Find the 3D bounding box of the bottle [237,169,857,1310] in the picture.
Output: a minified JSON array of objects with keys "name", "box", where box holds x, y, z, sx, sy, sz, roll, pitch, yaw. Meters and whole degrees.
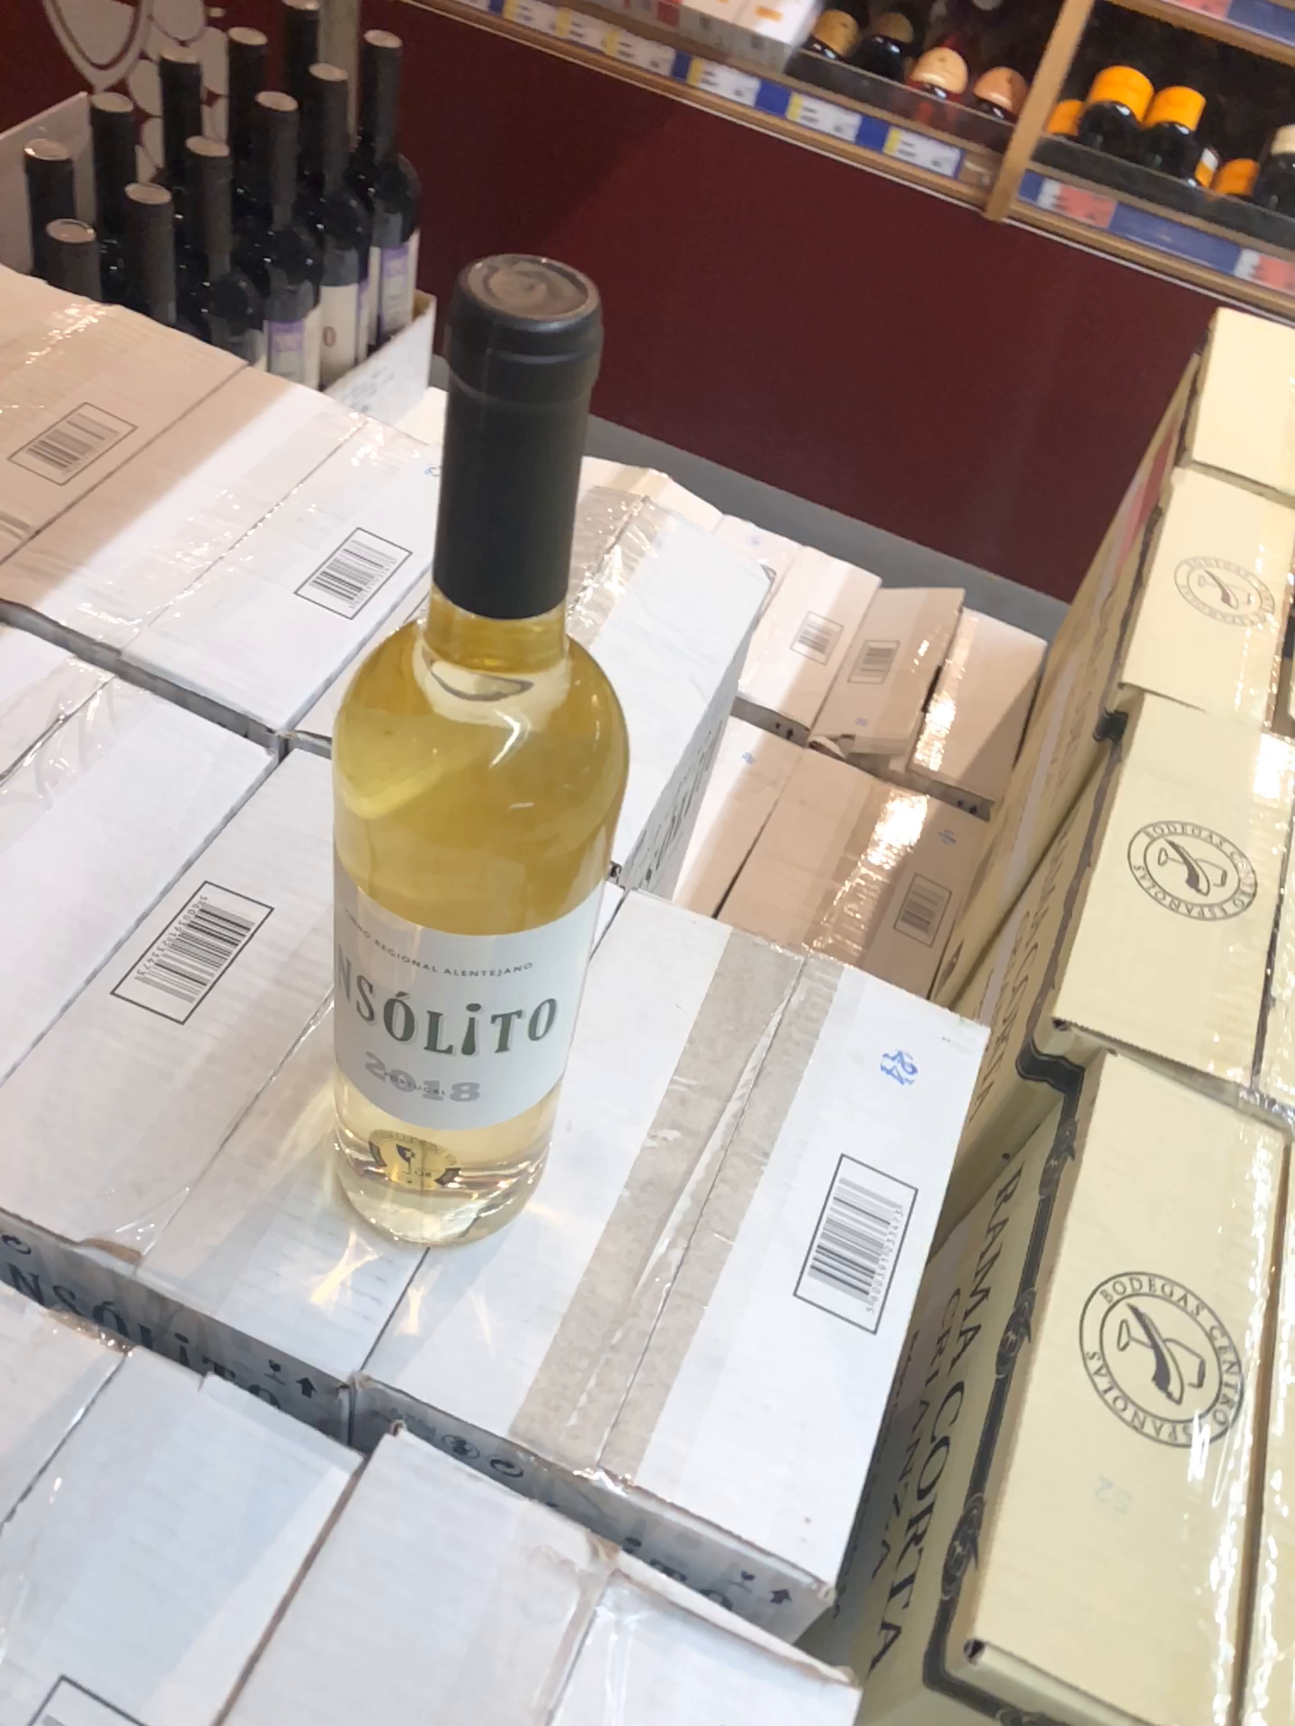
[{"name":"bottle","box":[-0.040,-0.001,0.370,0.090,0.298,0.091,7,49,-8]}]
